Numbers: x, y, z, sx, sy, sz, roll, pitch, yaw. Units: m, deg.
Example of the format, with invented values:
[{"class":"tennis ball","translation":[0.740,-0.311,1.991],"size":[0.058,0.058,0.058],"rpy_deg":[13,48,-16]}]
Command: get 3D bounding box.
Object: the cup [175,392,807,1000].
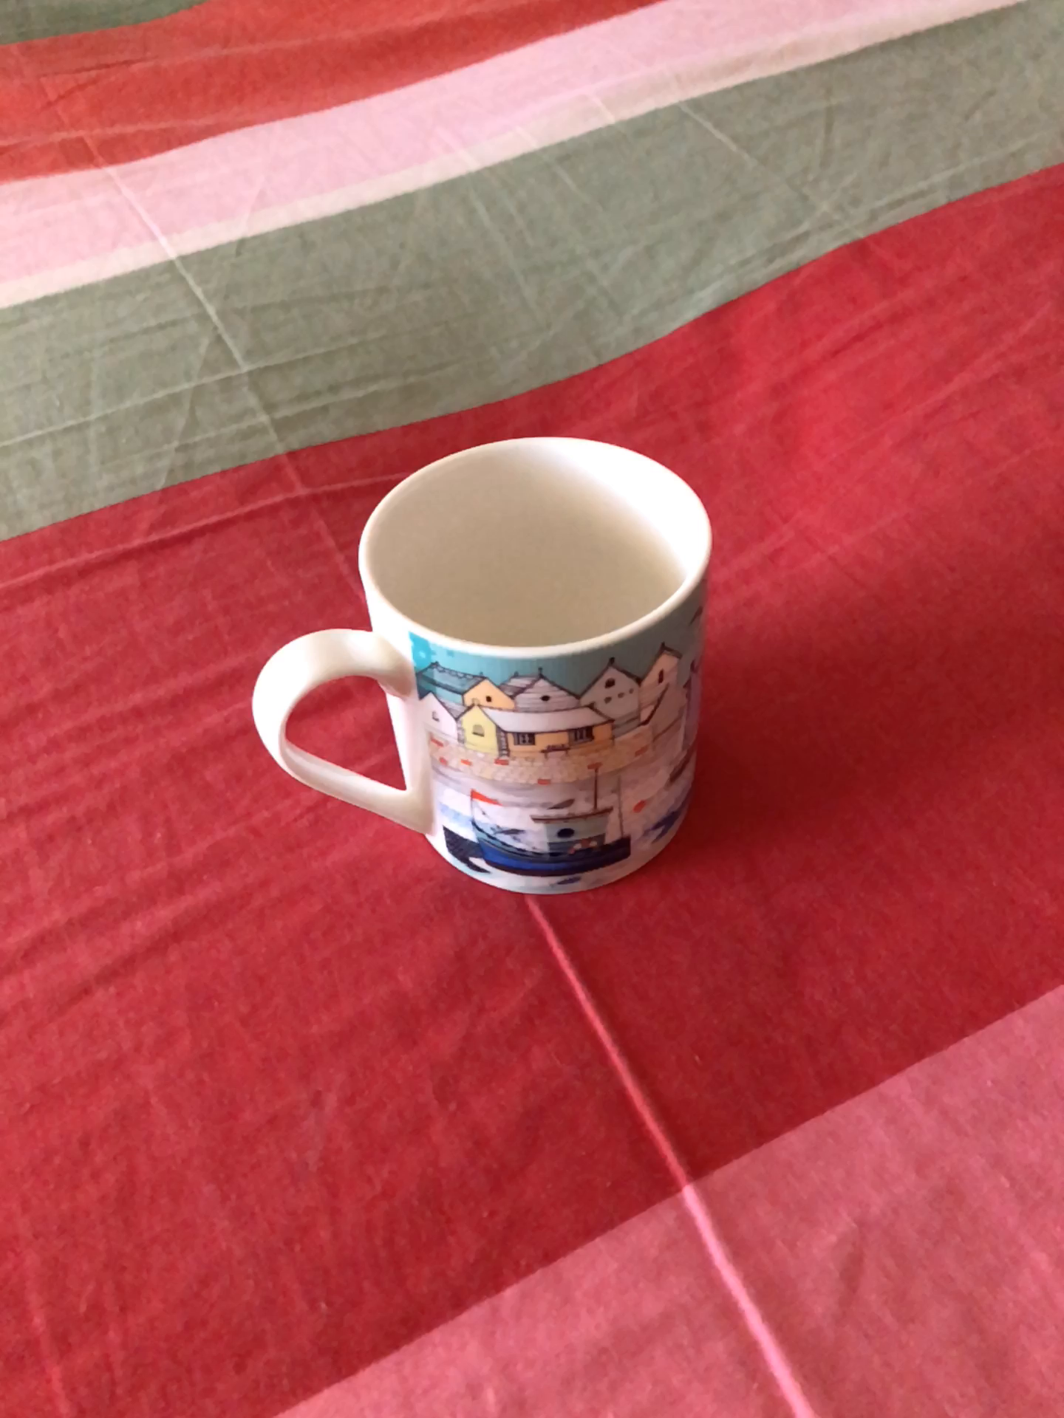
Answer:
[{"class":"cup","translation":[-0.011,-0.008,0.302],"size":[0.120,0.080,0.094],"rpy_deg":[-20,47,-14]}]
